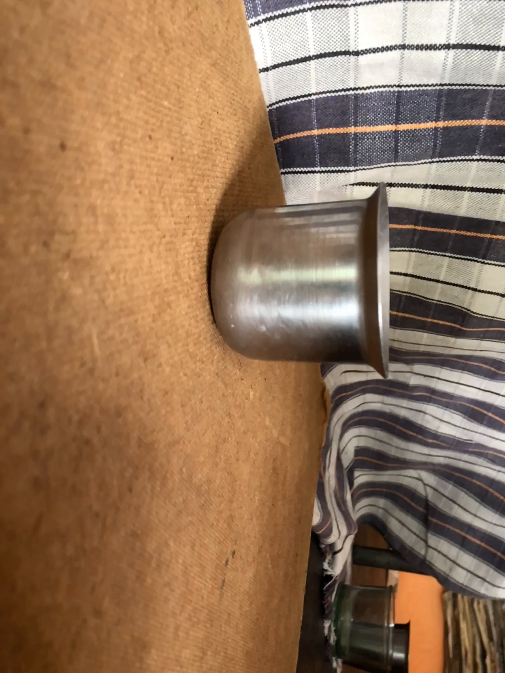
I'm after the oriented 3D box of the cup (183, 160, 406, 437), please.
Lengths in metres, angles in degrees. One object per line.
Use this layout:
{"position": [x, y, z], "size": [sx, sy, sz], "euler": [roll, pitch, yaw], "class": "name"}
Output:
{"position": [0.022, -0.016, 0.196], "size": [0.070, 0.060, 0.070], "euler": [0, 90, -75], "class": "cup"}
